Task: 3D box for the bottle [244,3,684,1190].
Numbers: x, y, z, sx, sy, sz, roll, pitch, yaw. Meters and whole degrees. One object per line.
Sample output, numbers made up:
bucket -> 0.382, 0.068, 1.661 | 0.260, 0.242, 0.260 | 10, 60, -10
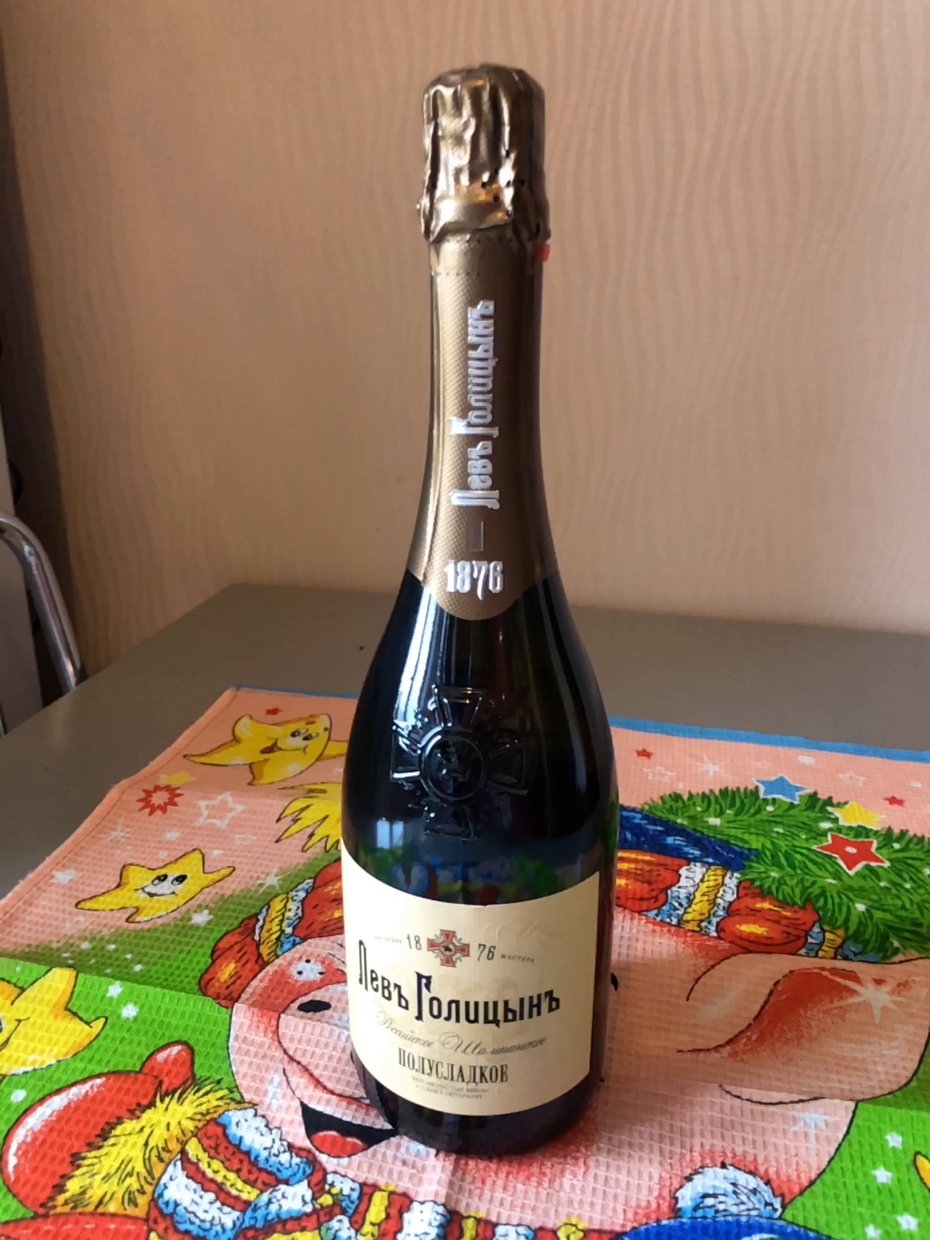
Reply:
bottle -> 0.007, 0.004, 0.308 | 0.090, 0.309, 0.093 | 0, 19, 0
